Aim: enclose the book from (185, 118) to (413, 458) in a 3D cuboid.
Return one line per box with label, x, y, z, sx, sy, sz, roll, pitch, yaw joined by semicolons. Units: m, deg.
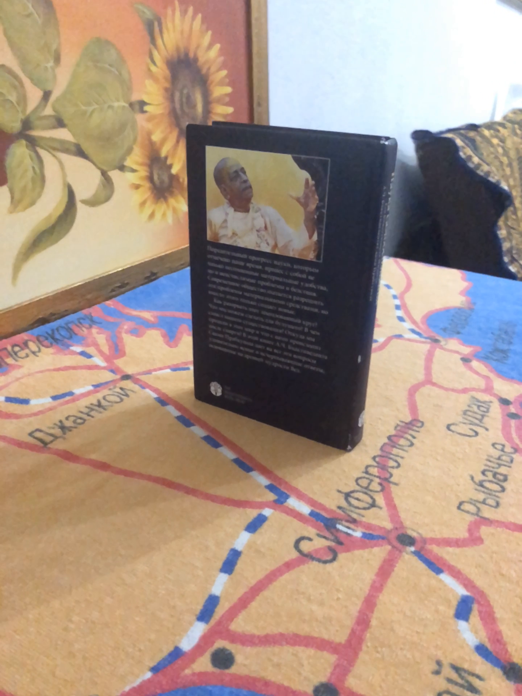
book;0.016;-0.041;0.392;0.140;0.206;0.030;16;28;26
